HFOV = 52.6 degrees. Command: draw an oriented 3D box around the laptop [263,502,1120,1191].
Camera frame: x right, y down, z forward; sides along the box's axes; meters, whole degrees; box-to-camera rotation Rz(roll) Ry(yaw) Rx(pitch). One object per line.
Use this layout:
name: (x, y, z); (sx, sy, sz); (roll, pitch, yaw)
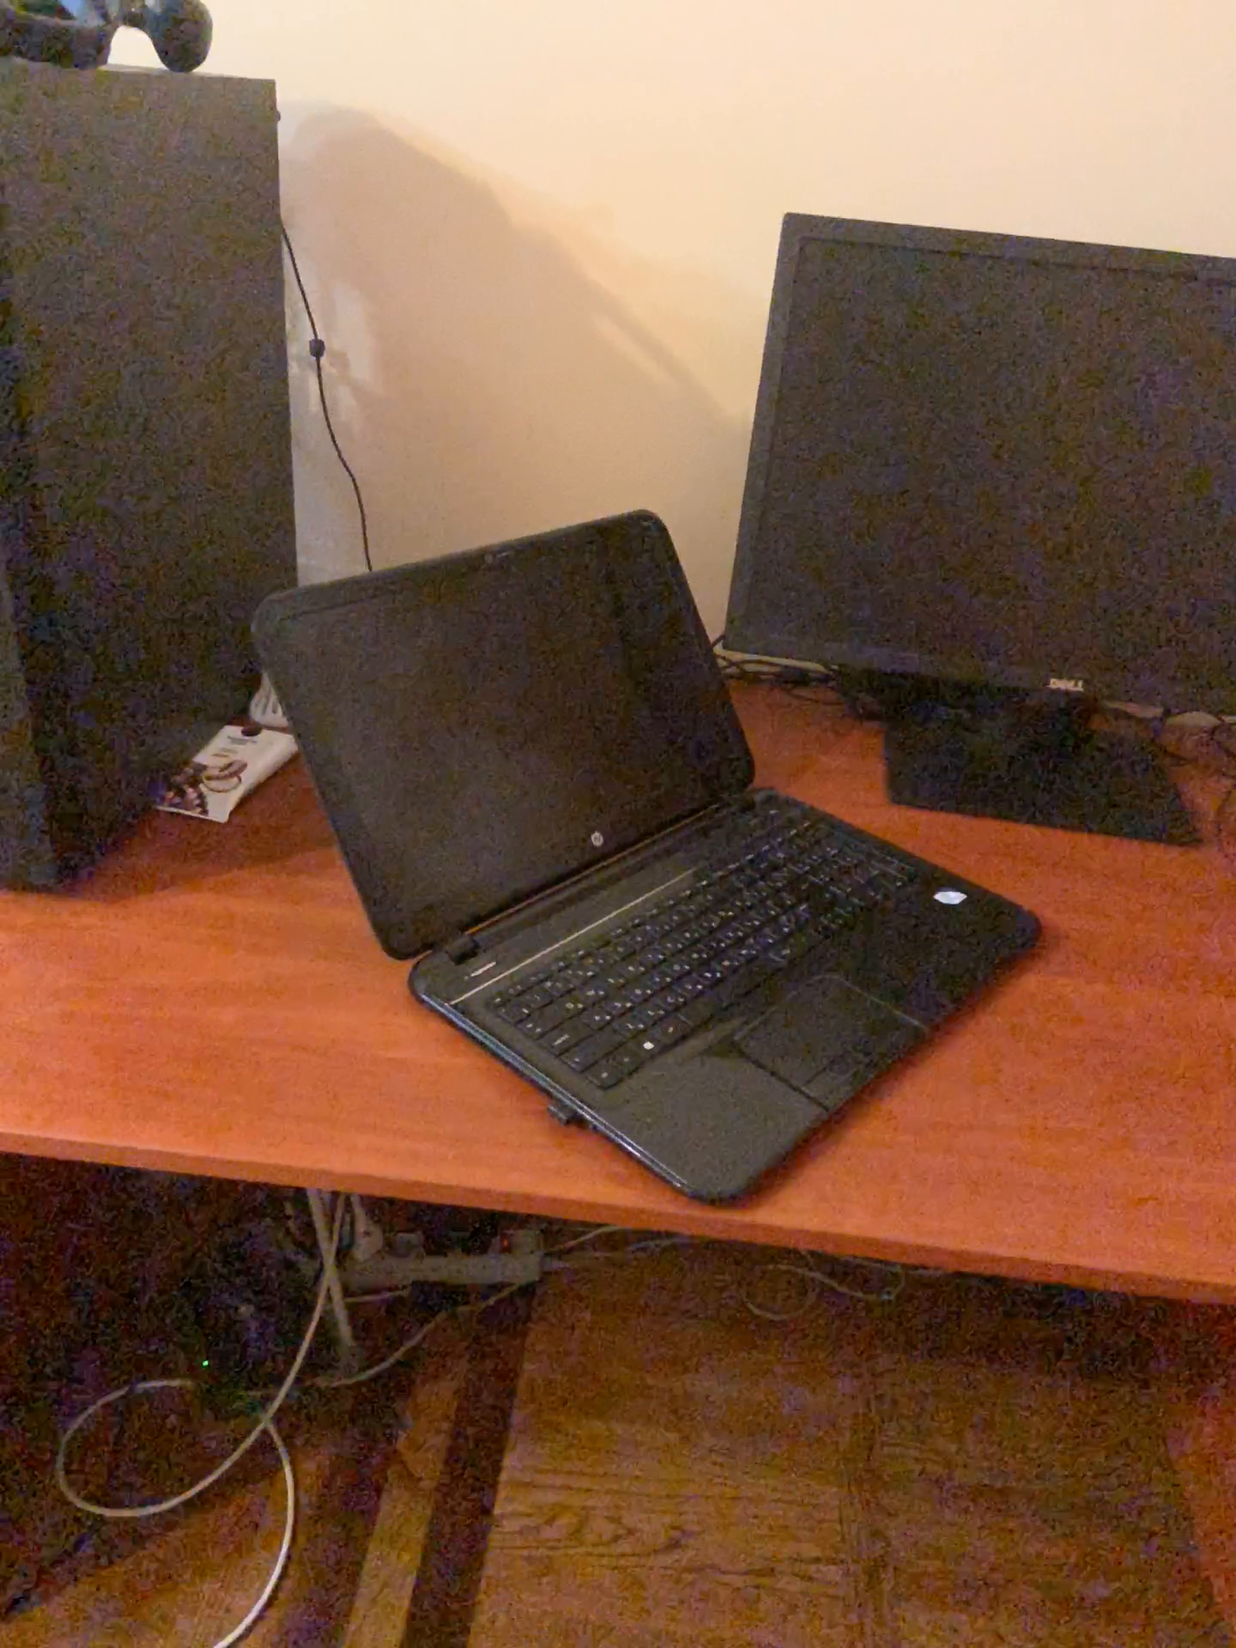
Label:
laptop: (0.040, -0.032, 0.747); (0.358, 0.168, 0.333); (30, 37, 32)
